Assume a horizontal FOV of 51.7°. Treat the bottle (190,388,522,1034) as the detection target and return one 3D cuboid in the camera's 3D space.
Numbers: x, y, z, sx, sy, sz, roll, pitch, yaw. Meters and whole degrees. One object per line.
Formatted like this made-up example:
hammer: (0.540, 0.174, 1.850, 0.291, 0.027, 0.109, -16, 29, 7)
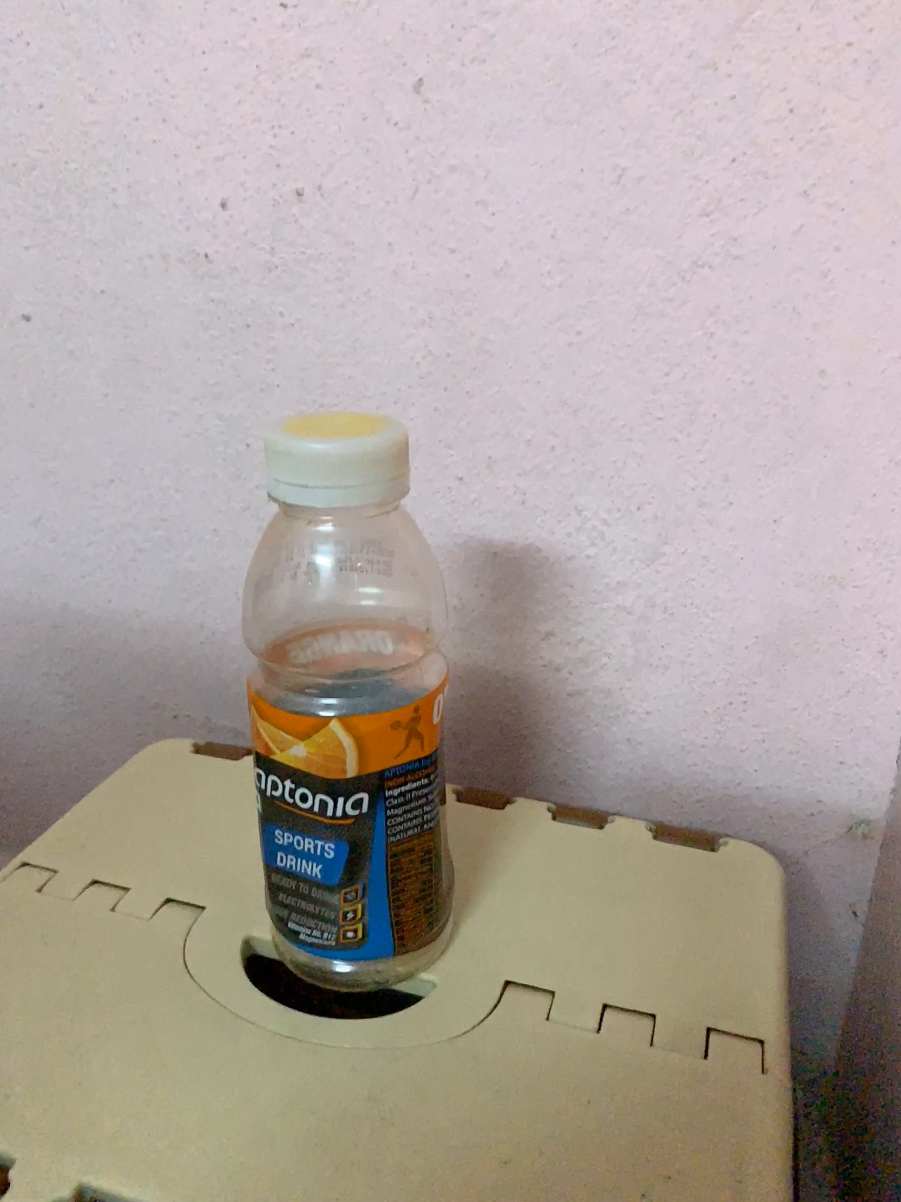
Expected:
bottle: (-0.023, 0.032, 0.286, 0.070, 0.179, 0.060, 9, 24, 20)
